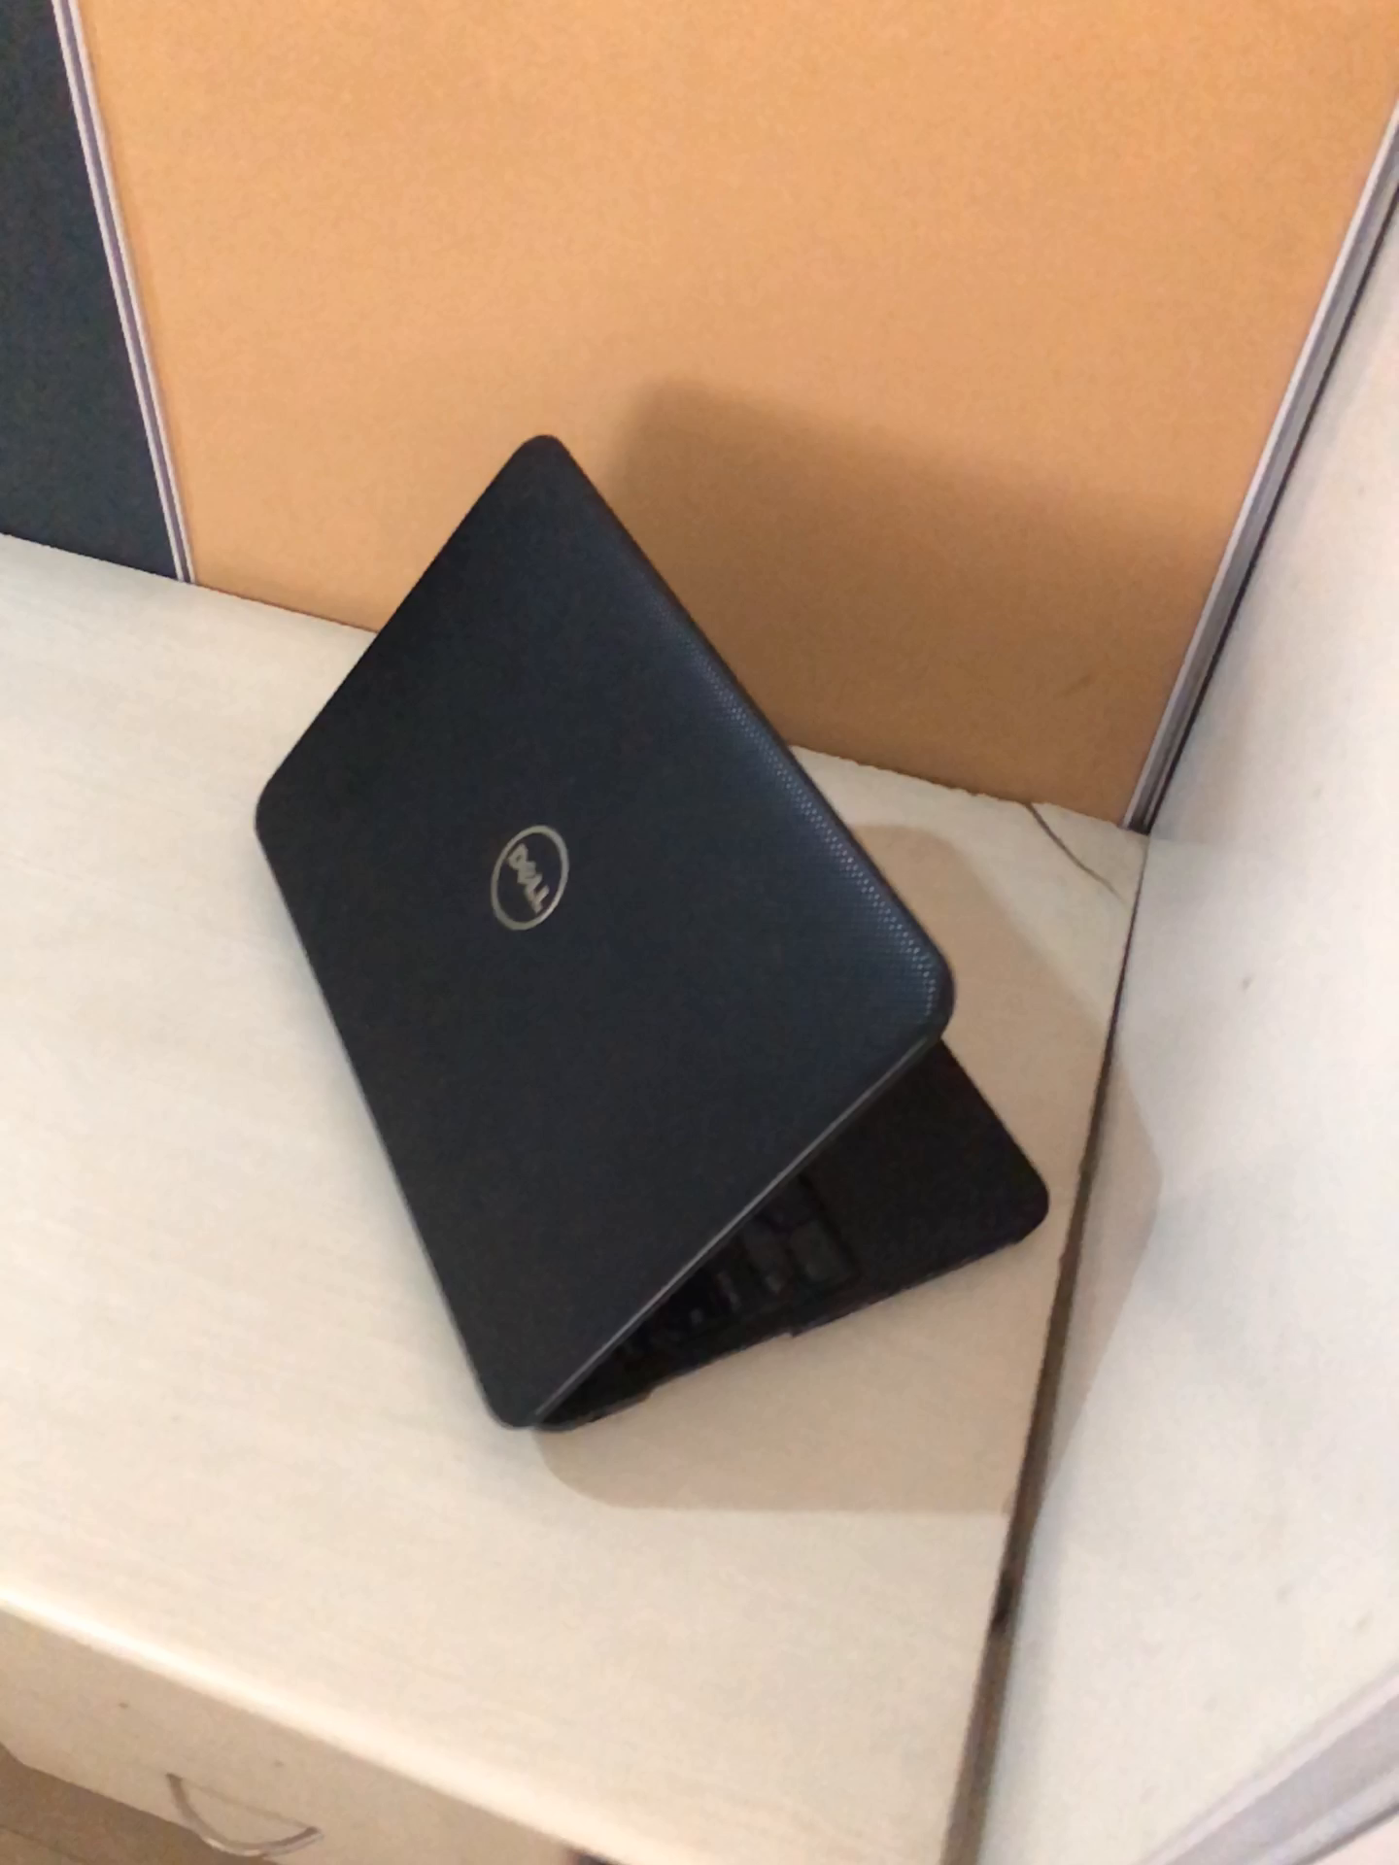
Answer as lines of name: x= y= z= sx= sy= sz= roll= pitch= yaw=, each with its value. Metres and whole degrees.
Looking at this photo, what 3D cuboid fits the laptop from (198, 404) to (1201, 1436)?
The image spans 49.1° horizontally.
laptop: x=-0.022 y=-0.031 z=0.650 sx=0.254 sy=0.179 sz=0.353 roll=-17 pitch=54 yaw=-21
